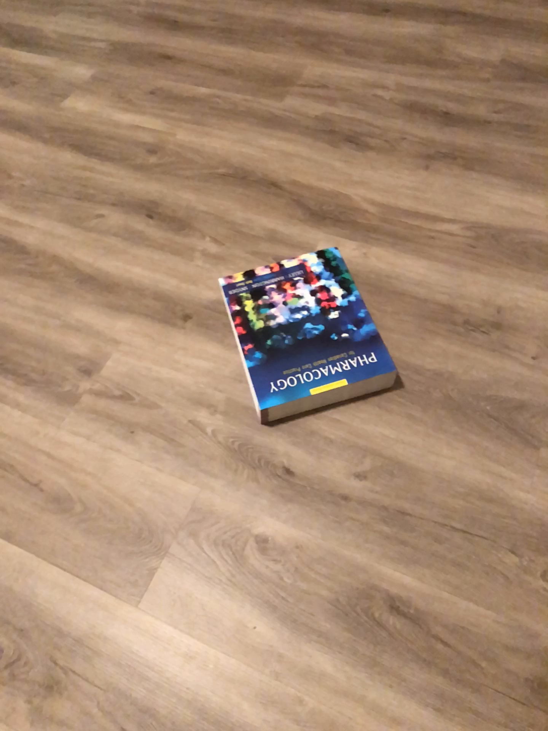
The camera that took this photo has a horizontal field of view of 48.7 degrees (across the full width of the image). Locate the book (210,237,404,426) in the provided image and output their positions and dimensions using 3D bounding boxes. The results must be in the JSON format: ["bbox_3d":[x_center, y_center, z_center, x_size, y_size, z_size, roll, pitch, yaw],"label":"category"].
[{"bbox_3d":[0.042,-0.065,0.956,0.228,0.046,0.278,-16,56,-5],"label":"book"}]
